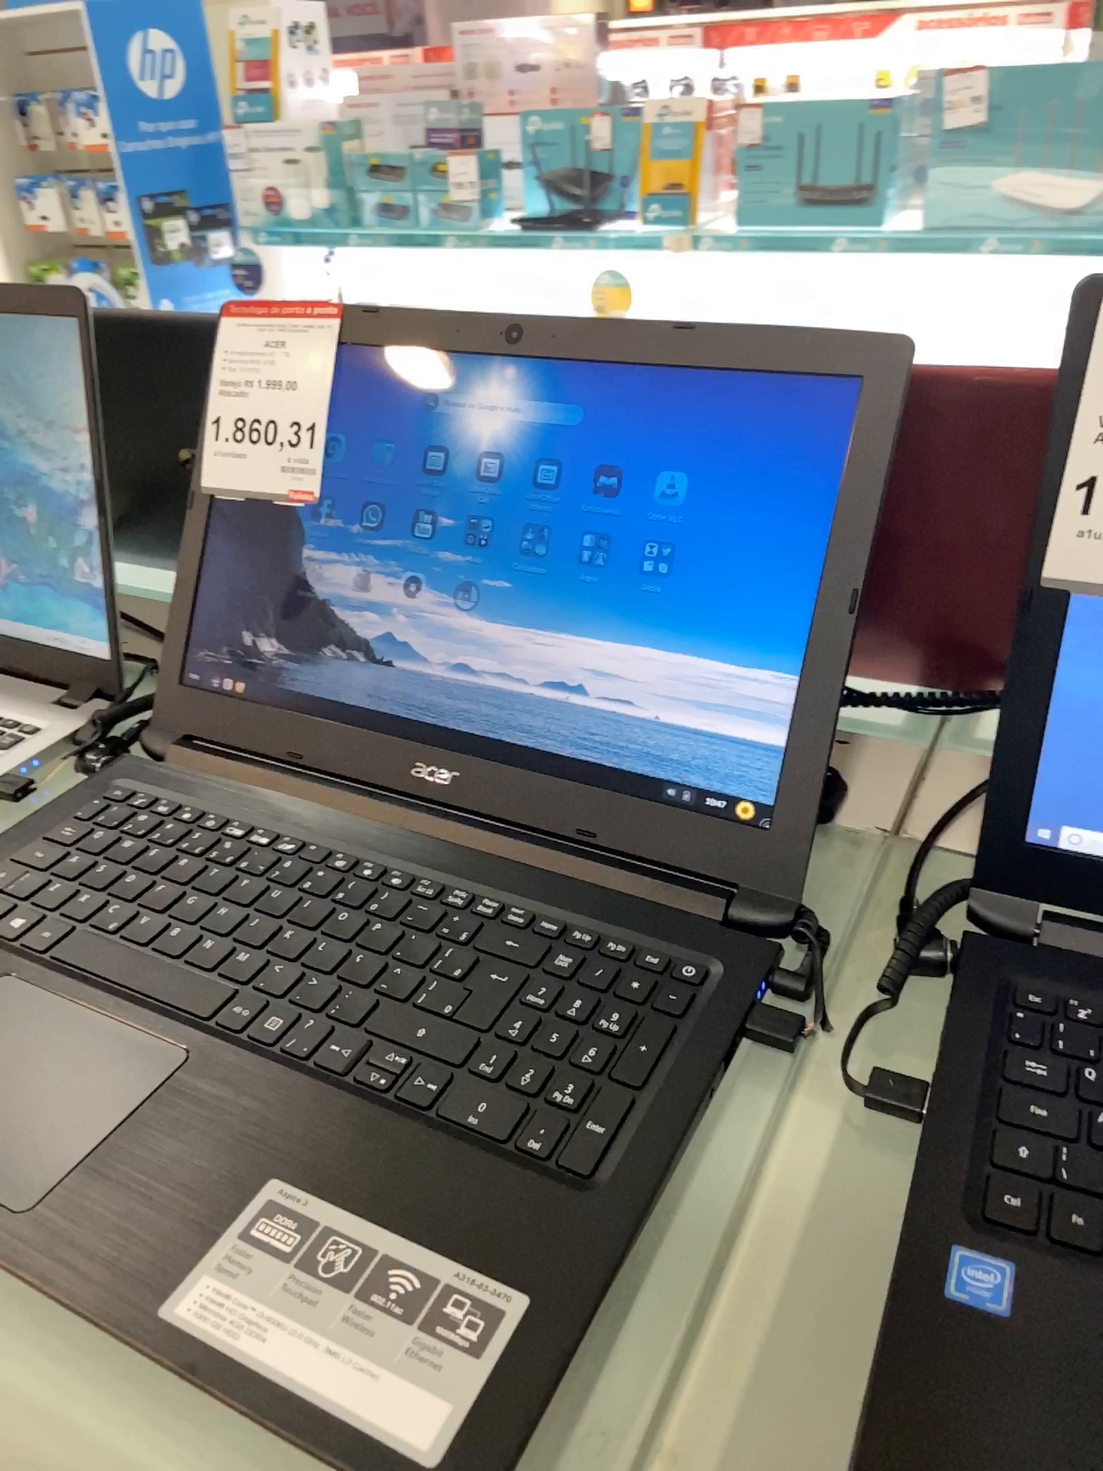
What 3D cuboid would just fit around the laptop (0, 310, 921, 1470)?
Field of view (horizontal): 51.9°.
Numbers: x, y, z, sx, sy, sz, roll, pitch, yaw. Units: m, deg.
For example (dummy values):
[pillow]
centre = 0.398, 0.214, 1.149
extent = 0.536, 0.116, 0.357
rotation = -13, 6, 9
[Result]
[laptop]
centre = -0.100, -0.018, 0.457
extent = 0.379, 0.215, 0.381
rotation = 12, 34, 27
